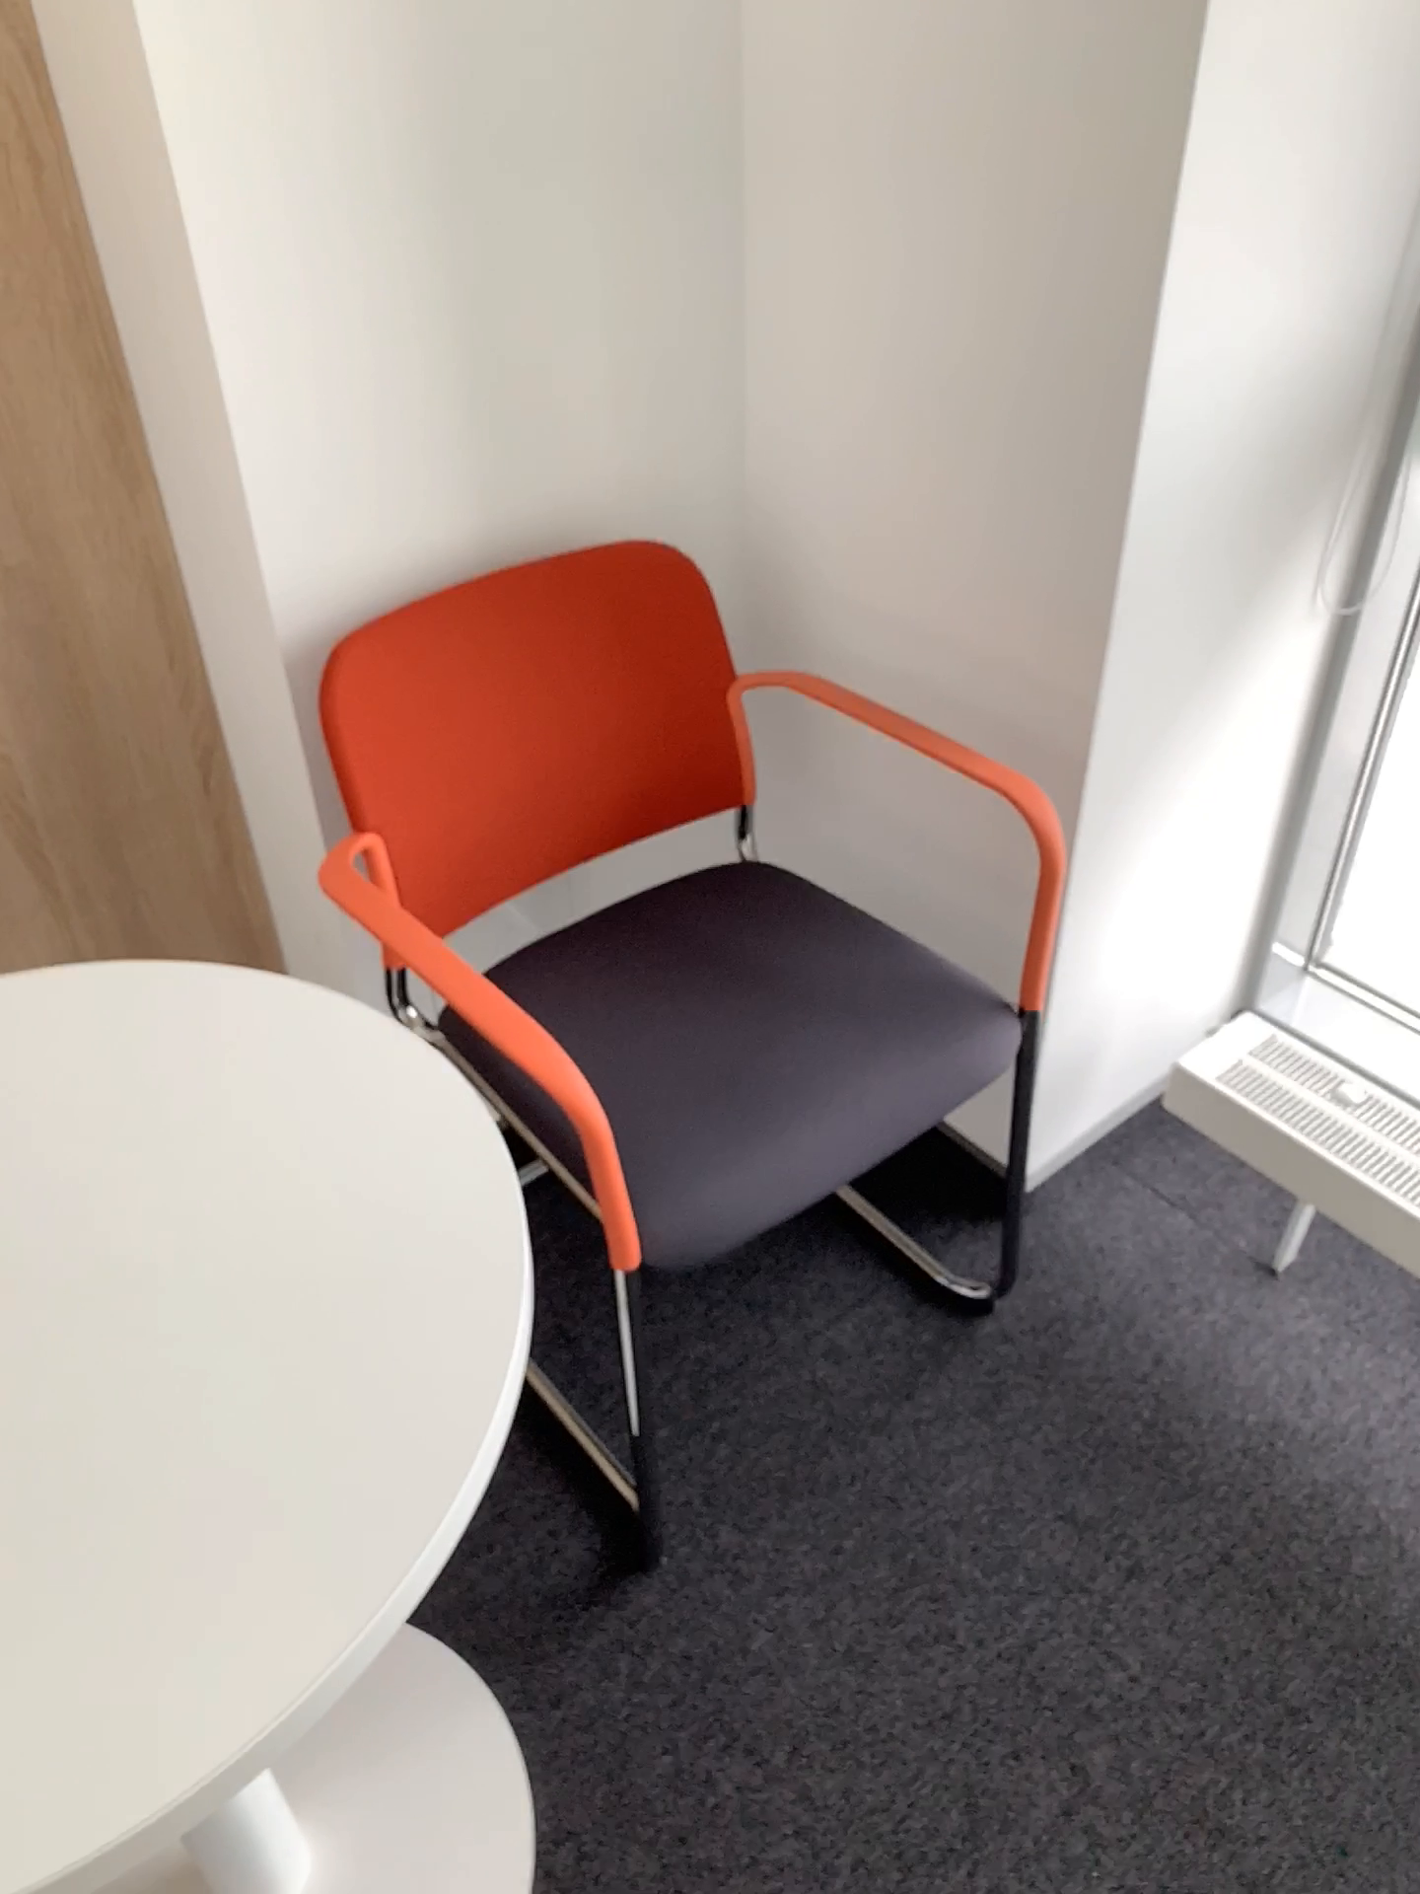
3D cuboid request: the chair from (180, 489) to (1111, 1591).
[{"bbox_3d":[-0.057,0.067,1.480,0.571,0.775,0.562,-27,45,-28],"label":"chair"}]
